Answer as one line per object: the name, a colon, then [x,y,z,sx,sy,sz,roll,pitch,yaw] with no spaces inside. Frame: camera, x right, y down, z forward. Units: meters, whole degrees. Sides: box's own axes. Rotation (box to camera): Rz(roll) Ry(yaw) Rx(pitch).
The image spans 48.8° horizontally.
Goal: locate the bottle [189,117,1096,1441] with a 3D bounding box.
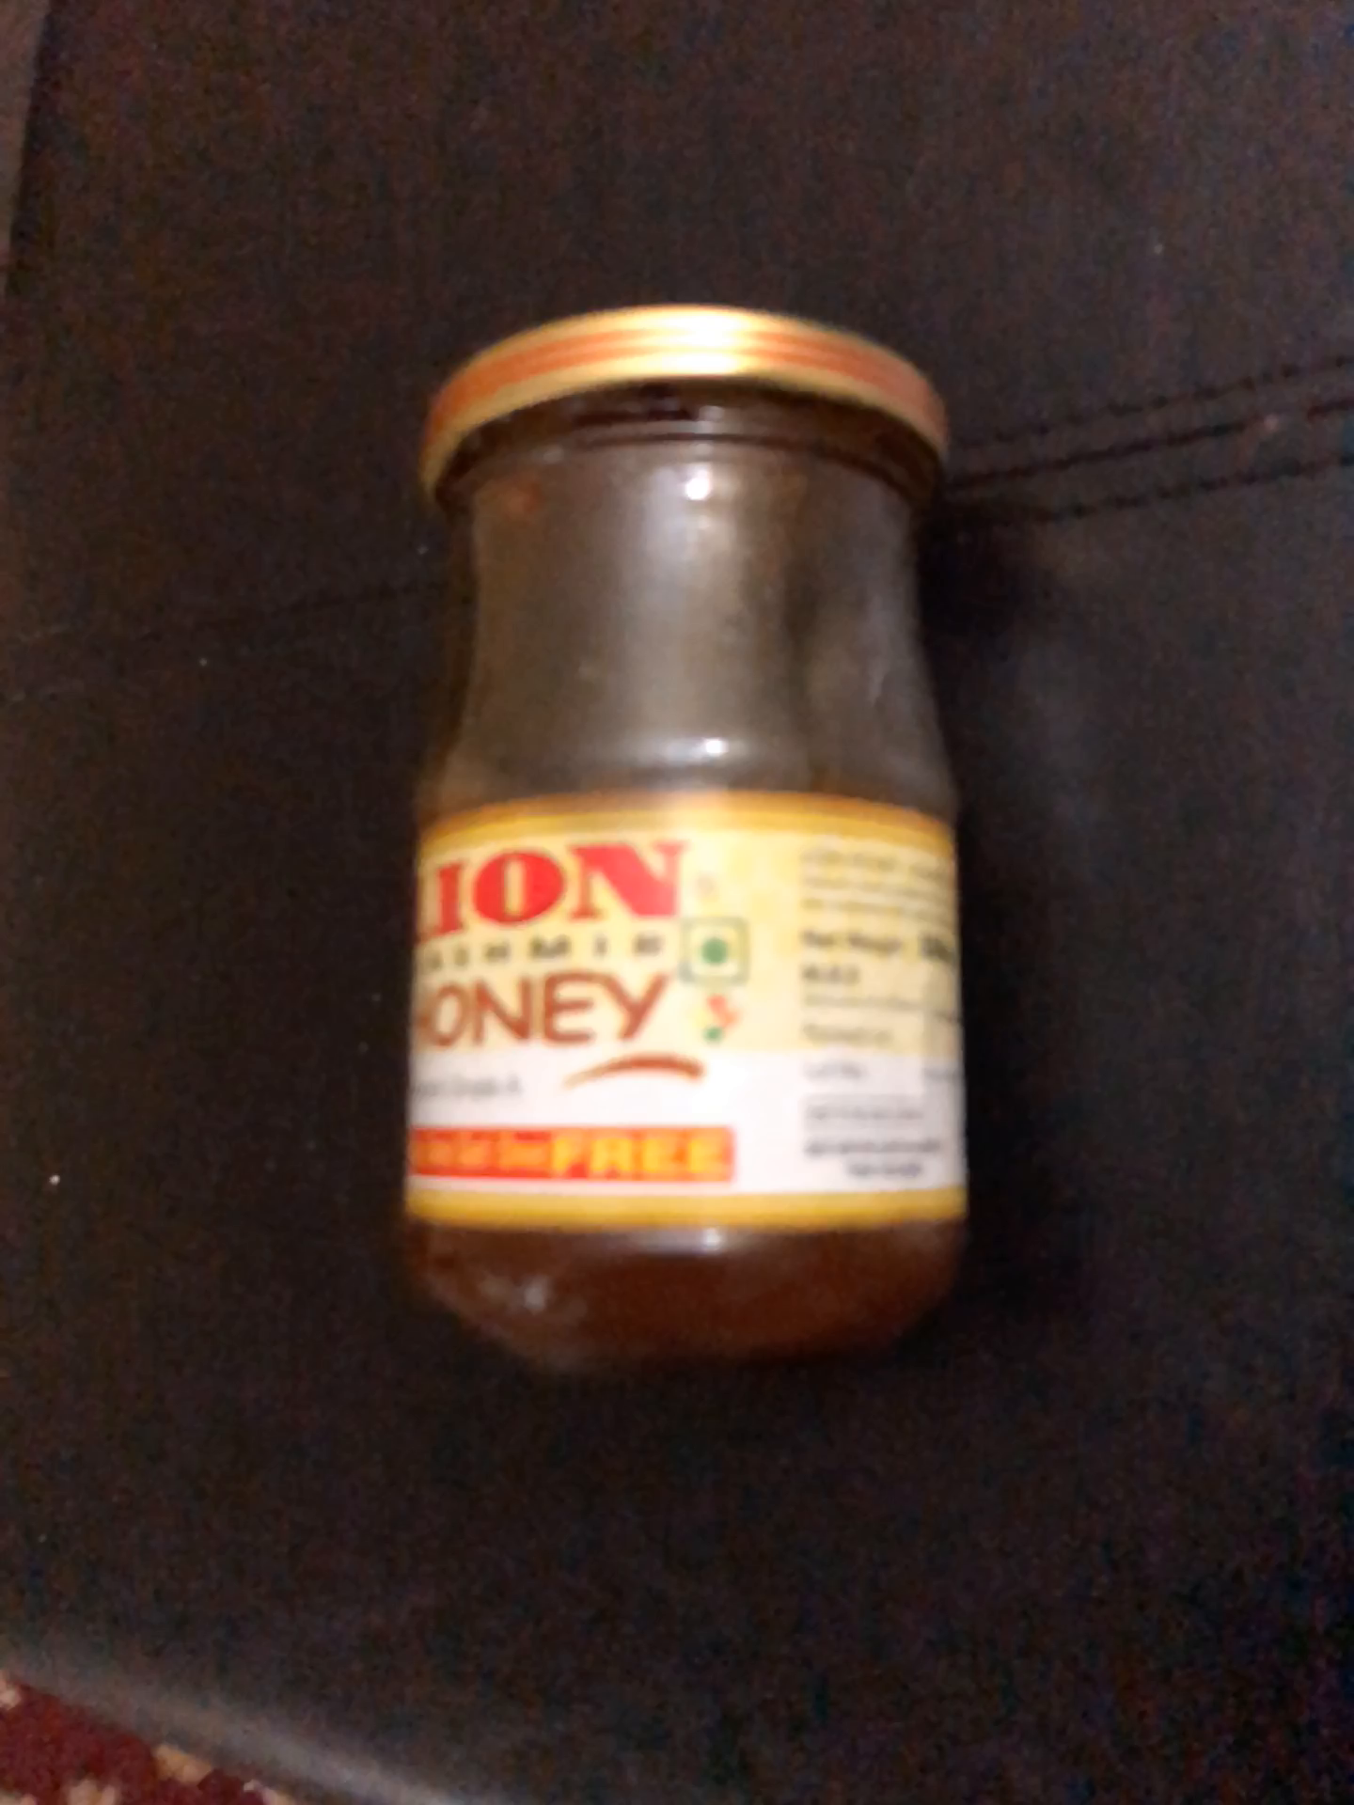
bottle: [-0.001,-0.006,0.169,0.069,0.070,0.110,-6,78,38]
